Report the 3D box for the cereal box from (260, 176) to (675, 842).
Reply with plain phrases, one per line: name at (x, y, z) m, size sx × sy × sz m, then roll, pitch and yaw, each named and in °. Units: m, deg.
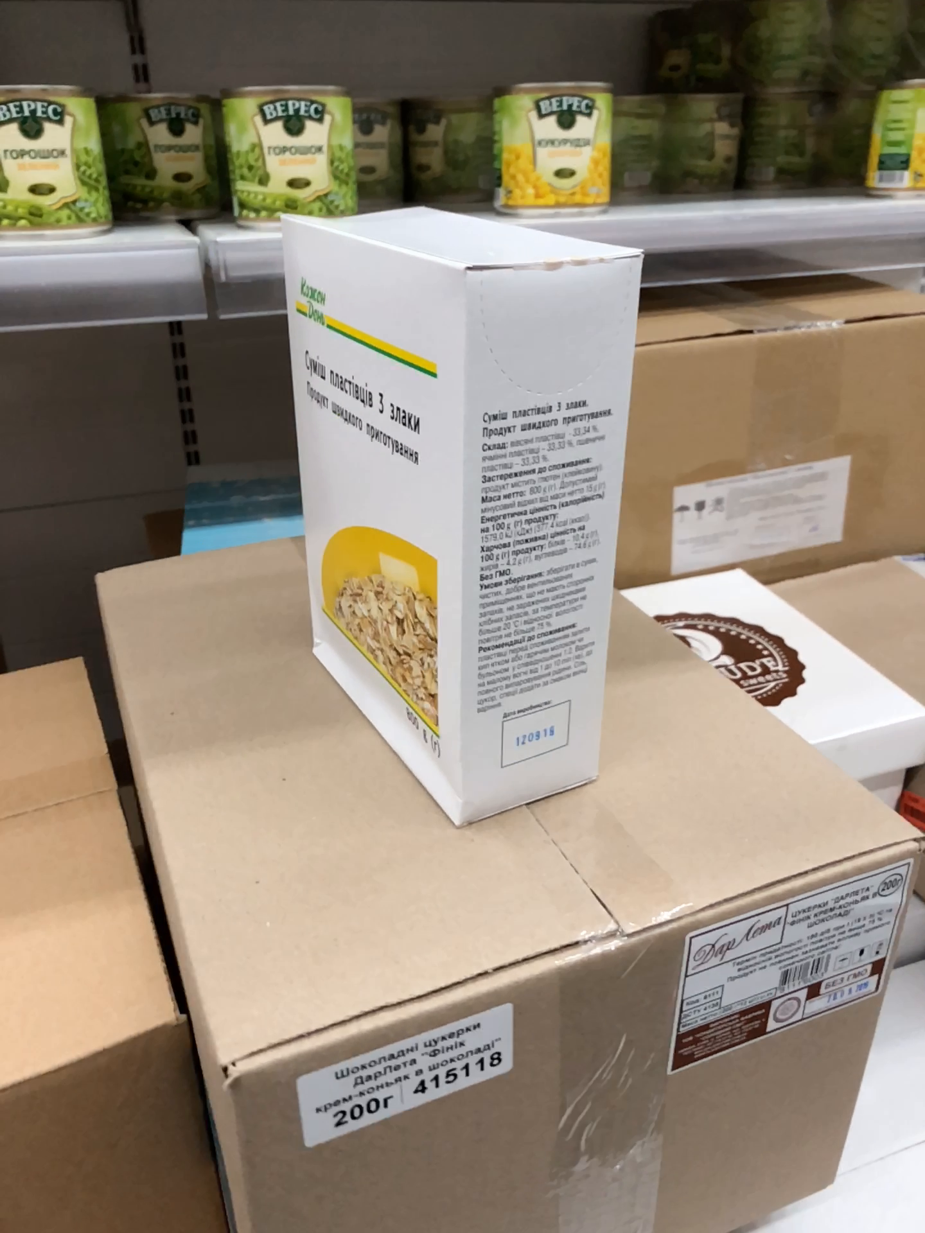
cereal box at (-0.008, -0.054, 0.404) m, size 0.070 × 0.209 × 0.171 m, roll -14°, pitch 31°, yaw -26°
